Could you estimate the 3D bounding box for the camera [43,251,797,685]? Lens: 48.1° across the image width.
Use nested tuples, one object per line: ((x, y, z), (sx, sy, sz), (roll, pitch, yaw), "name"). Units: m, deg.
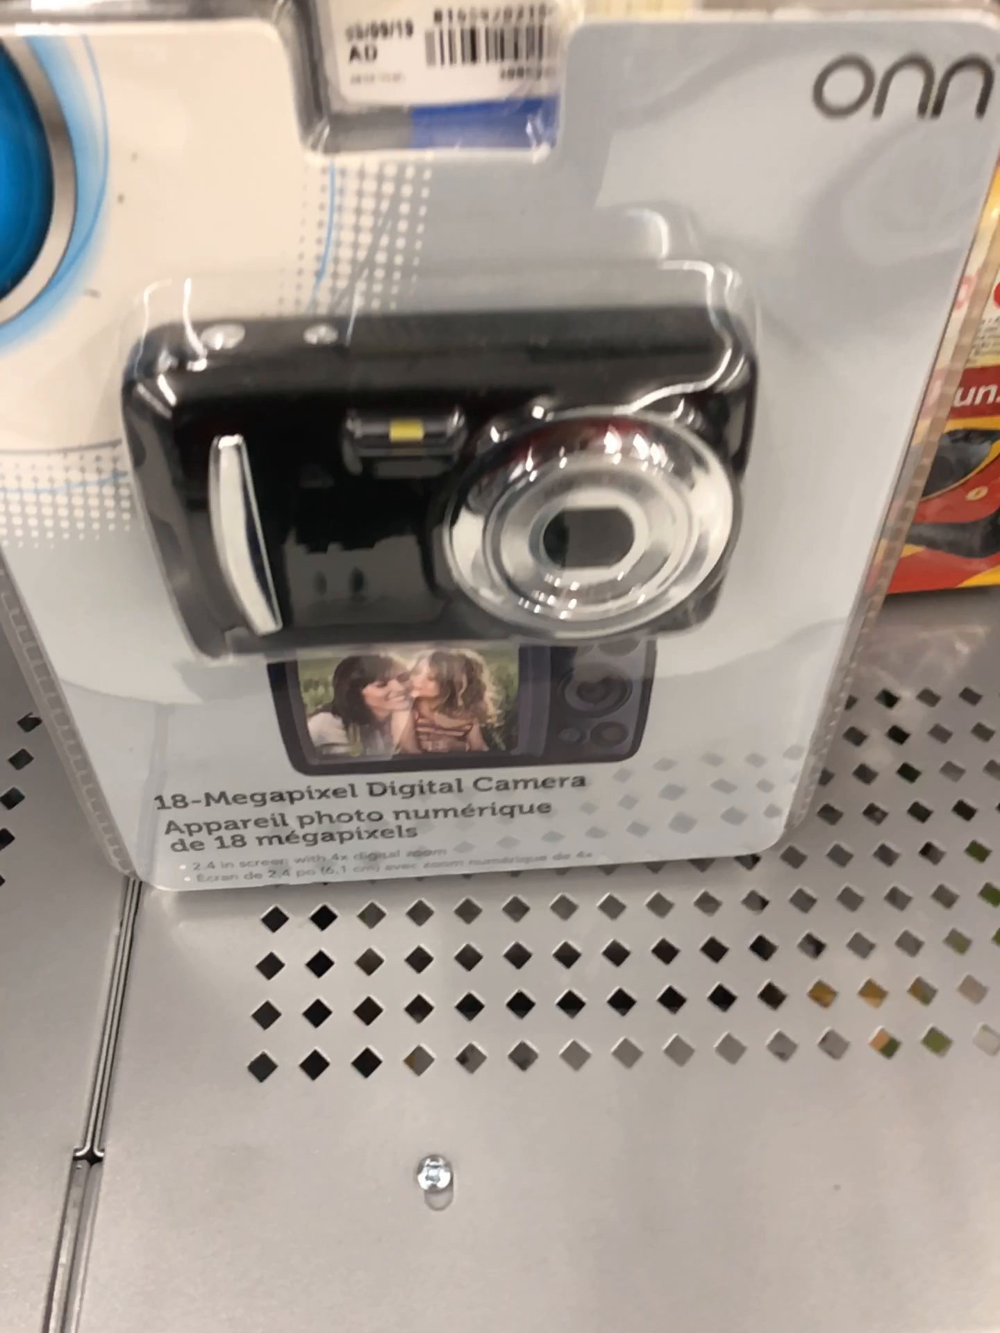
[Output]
((-0.011, -0.030, 0.181), (0.100, 0.060, 0.030), (-2, 49, -1), "camera")
